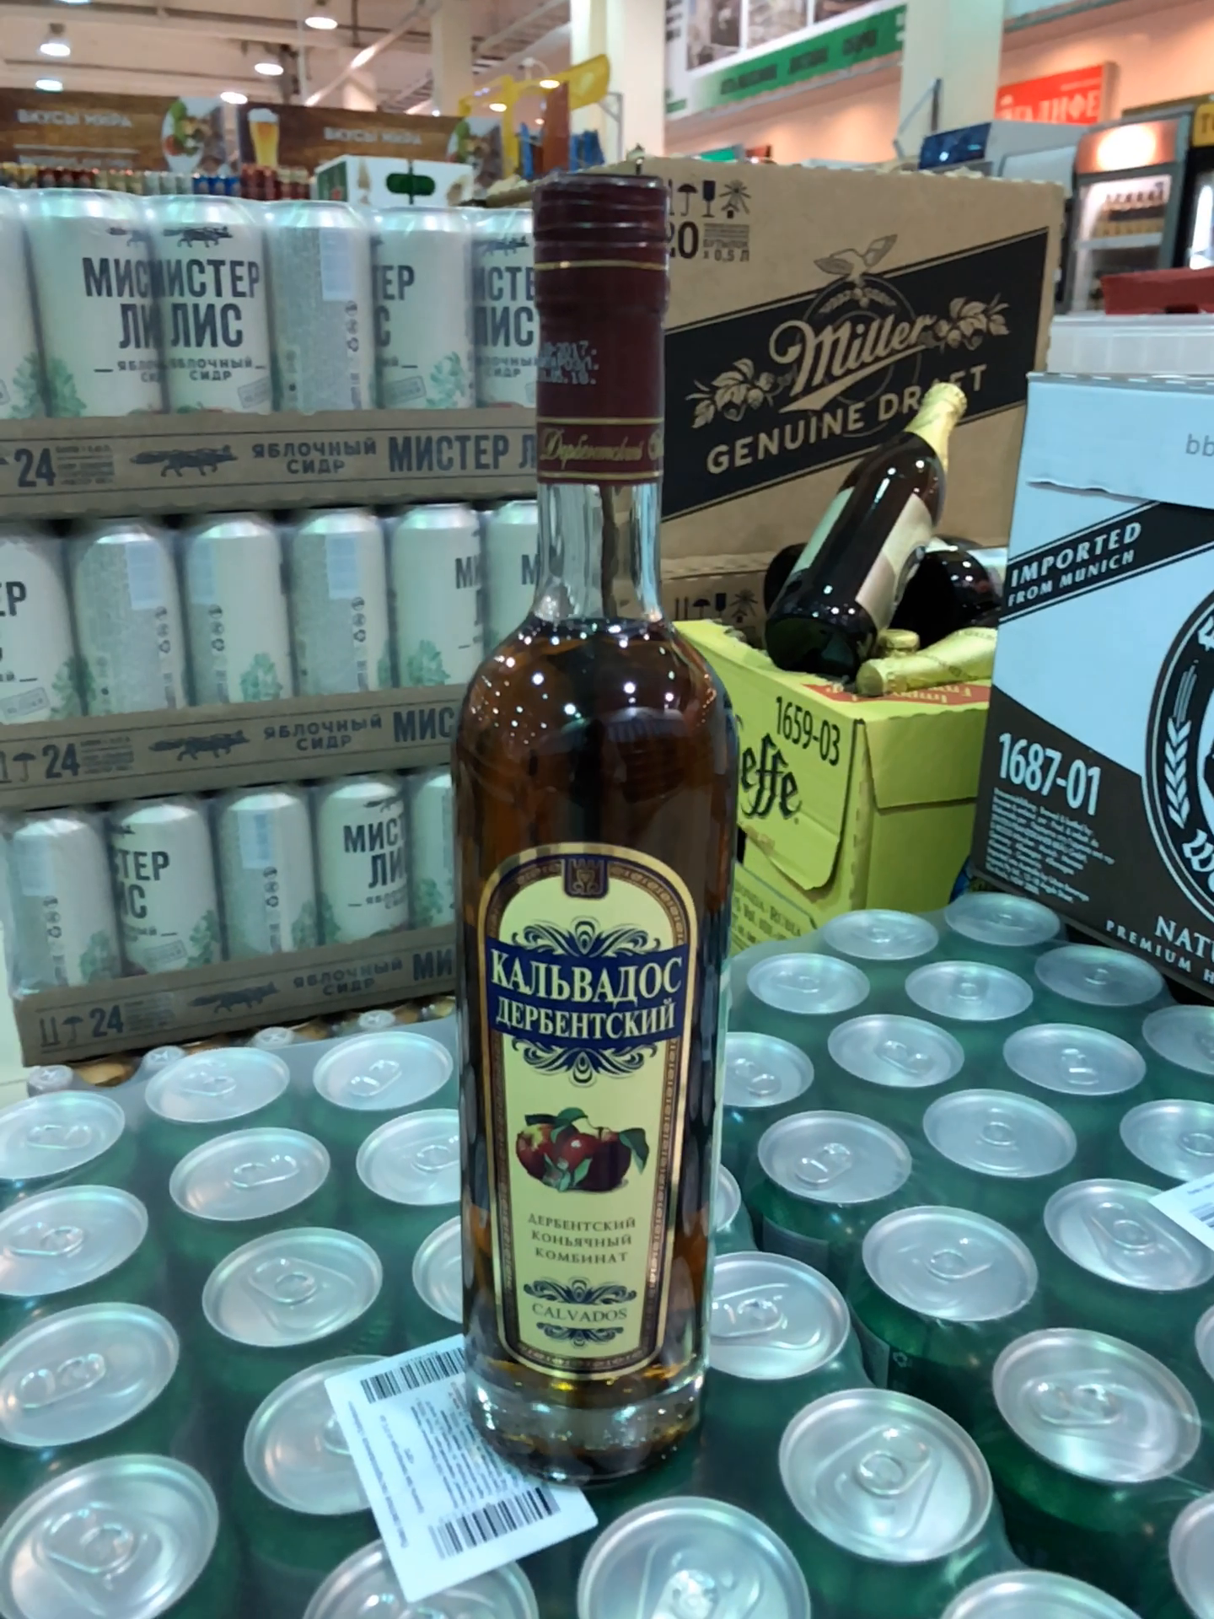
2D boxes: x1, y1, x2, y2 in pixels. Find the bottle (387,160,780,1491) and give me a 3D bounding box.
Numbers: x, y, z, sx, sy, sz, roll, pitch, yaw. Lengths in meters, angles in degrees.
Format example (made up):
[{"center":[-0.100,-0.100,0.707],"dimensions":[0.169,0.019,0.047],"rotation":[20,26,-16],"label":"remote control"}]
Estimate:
[{"center":[-0.004,0.015,0.317],"dimensions":[0.070,0.298,0.070],"rotation":[0,19,0],"label":"bottle"}]
